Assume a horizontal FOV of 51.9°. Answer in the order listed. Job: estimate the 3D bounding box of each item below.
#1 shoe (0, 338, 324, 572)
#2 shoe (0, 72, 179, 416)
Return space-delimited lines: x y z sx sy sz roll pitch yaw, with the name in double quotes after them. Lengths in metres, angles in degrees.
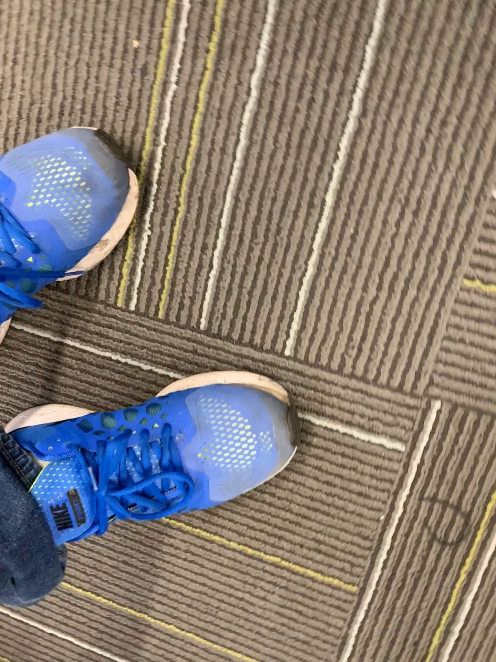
-0.098 0.114 0.455 0.300 0.077 0.129 -16 97 17 "shoe"
-0.222 -0.062 0.454 0.298 0.077 0.125 -35 91 18 "shoe"
